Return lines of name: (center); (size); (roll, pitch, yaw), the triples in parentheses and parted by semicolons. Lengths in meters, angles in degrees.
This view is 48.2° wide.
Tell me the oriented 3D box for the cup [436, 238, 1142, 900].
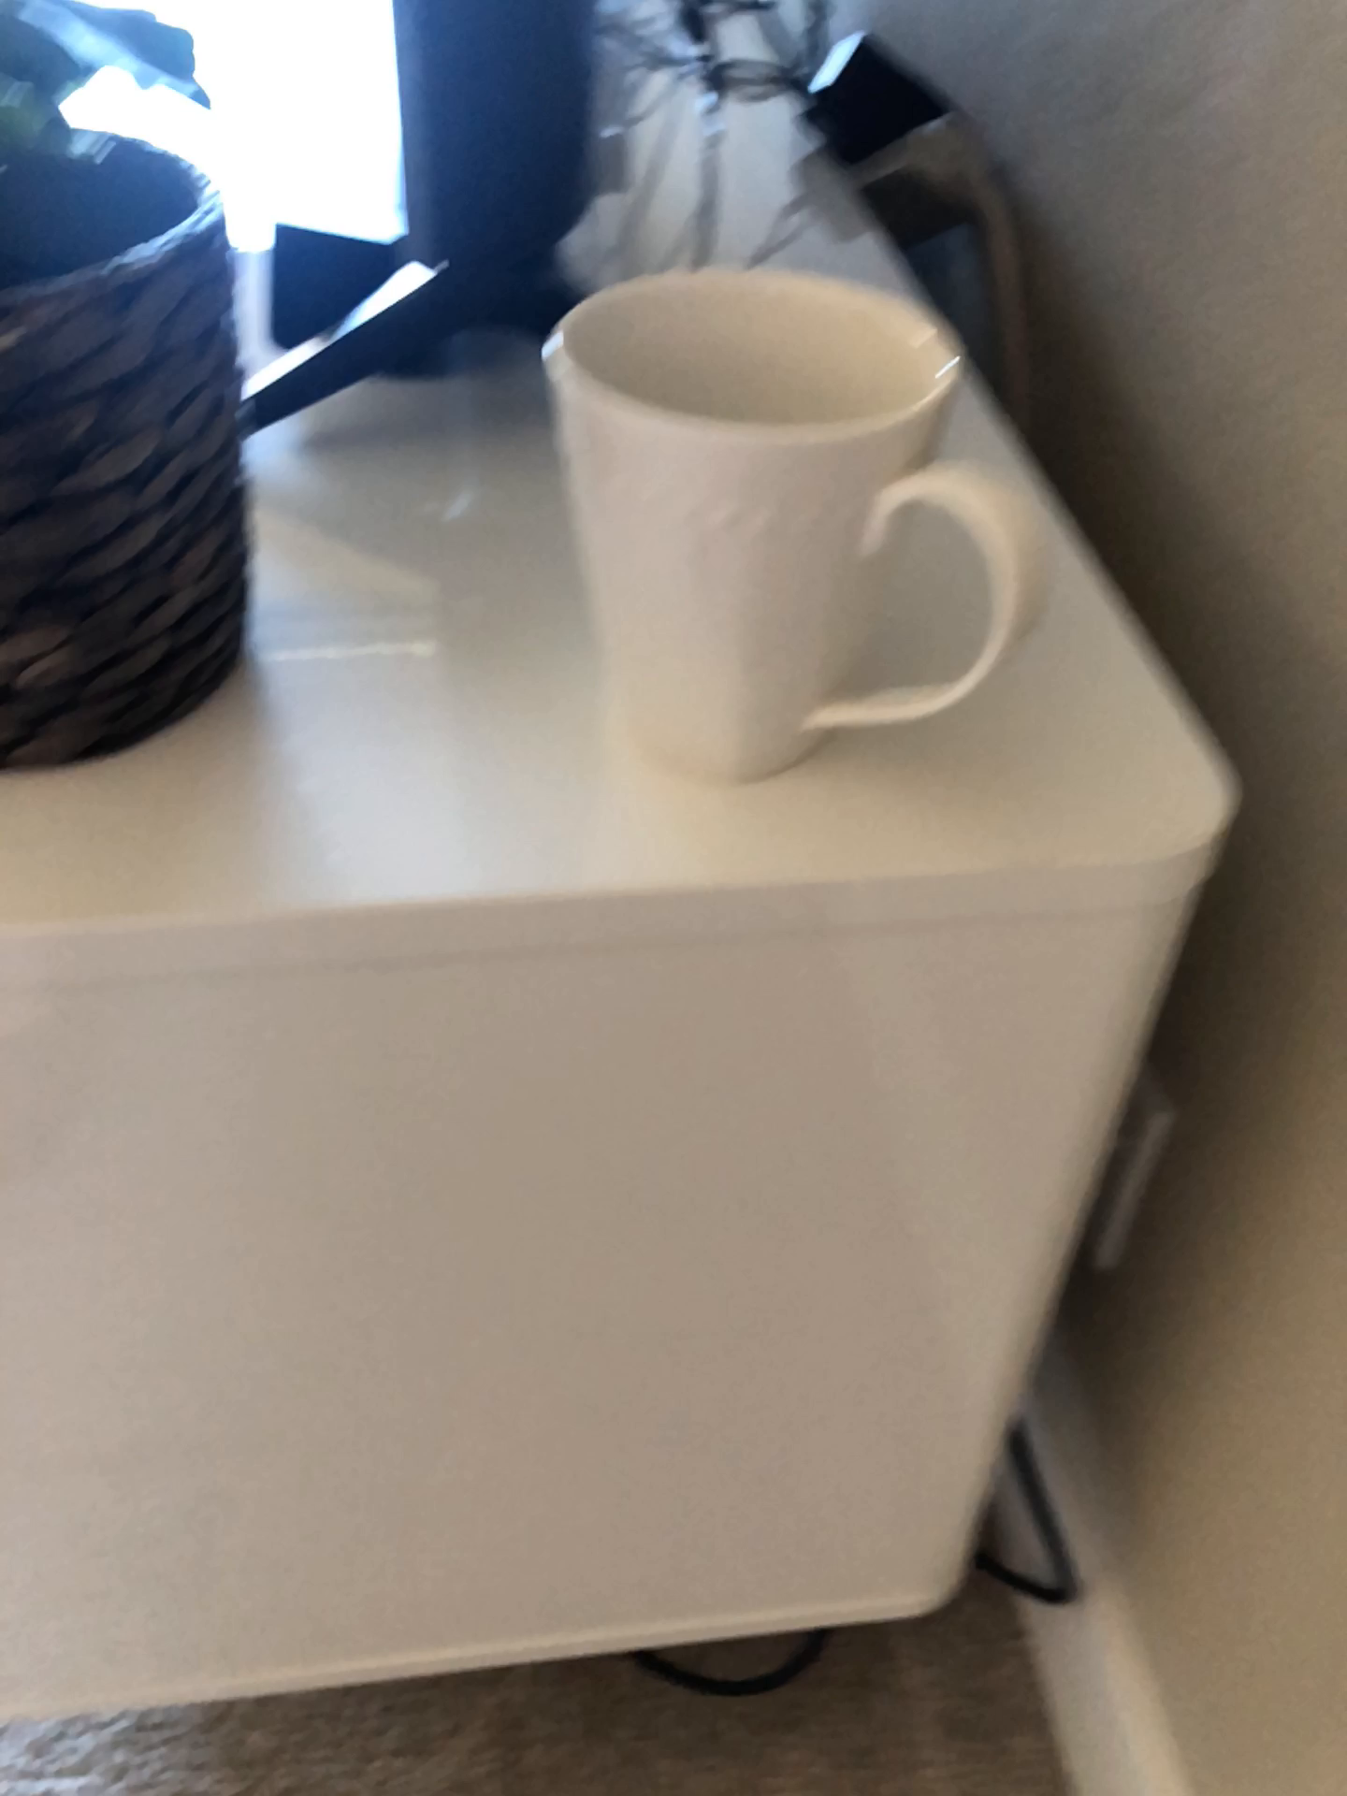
cup: (0.022, -0.086, 0.362); (0.090, 0.090, 0.130); (-31, 51, -32)
